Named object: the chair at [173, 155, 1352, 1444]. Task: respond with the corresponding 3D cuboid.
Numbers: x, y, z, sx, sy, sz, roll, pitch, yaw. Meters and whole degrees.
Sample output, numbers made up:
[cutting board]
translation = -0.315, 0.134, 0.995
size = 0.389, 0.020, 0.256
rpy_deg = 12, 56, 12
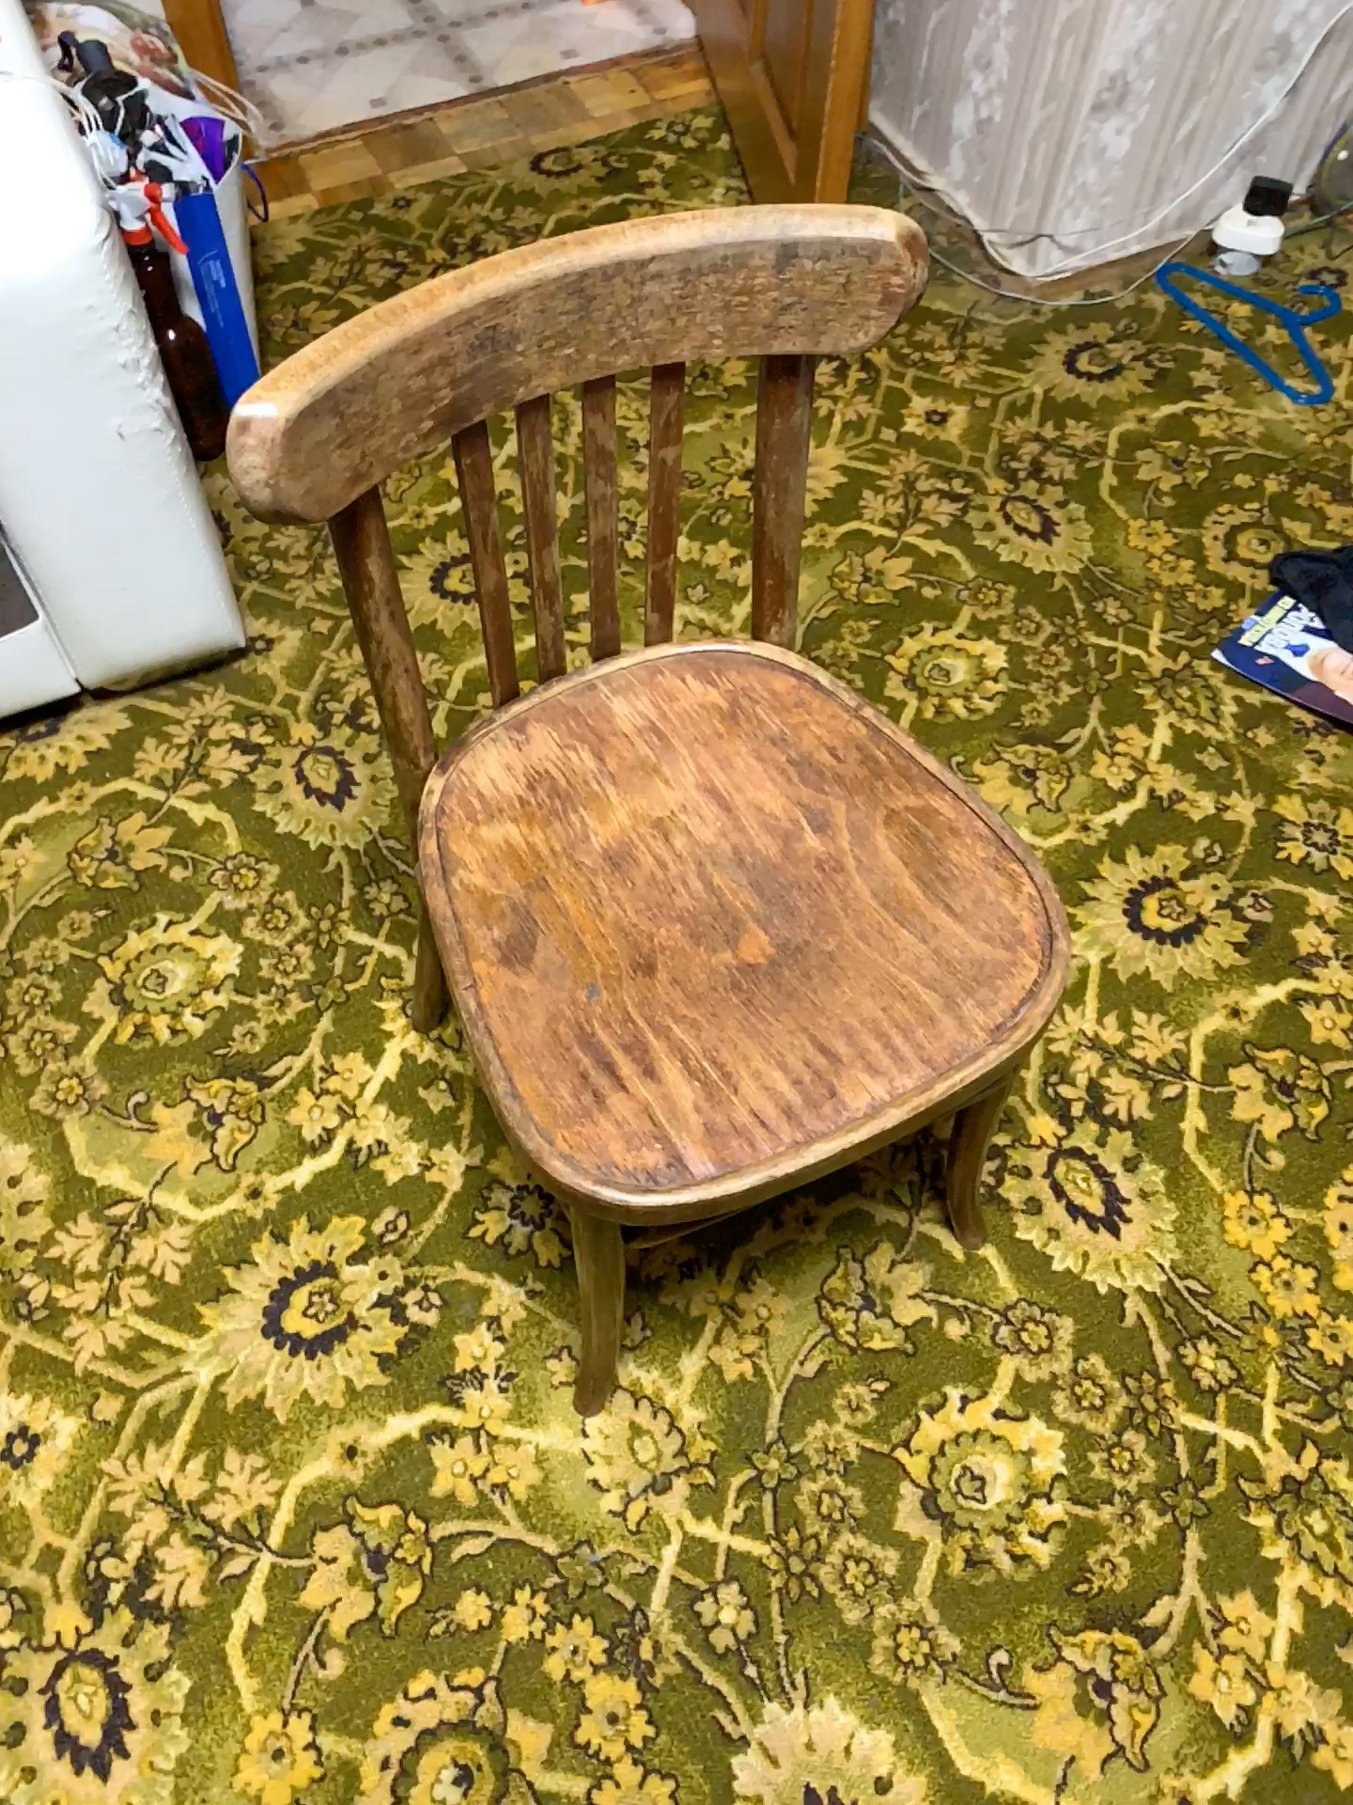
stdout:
[chair]
translation = 0.014, 0.010, 0.928
size = 0.400, 0.735, 0.412
rpy_deg = -20, 61, -13
